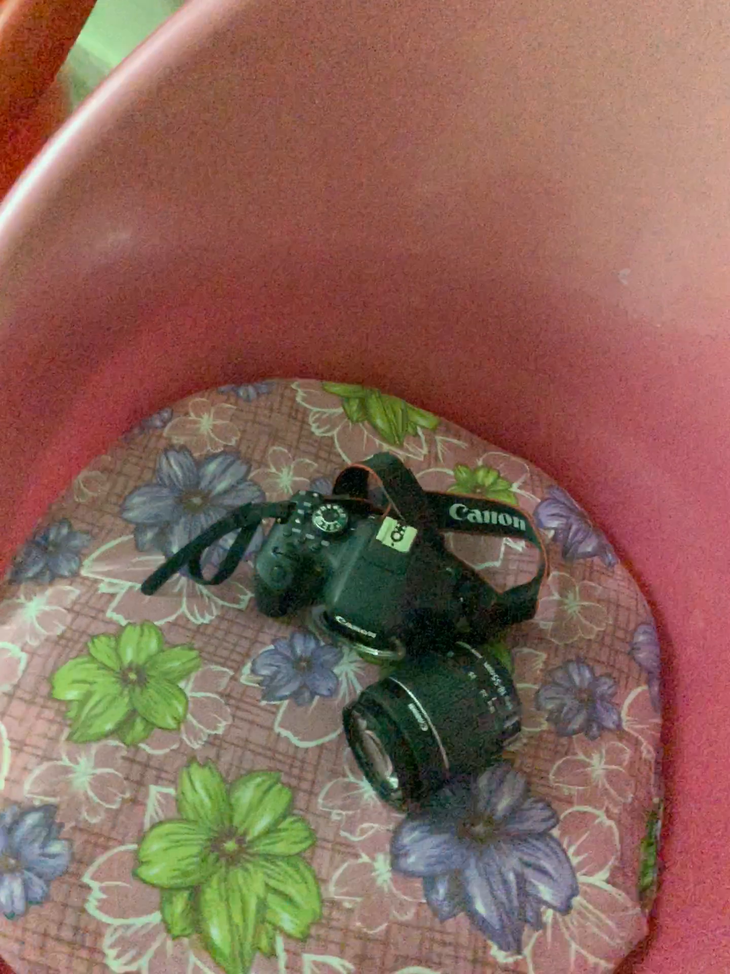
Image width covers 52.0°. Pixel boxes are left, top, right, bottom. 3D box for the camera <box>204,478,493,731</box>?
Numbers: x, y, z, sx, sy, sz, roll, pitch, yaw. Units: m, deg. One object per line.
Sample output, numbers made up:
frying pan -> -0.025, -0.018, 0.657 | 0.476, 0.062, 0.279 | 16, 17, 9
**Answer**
camera -> -0.009, 0.072, 0.461 | 0.143, 0.078, 0.086 | 19, 59, 11
